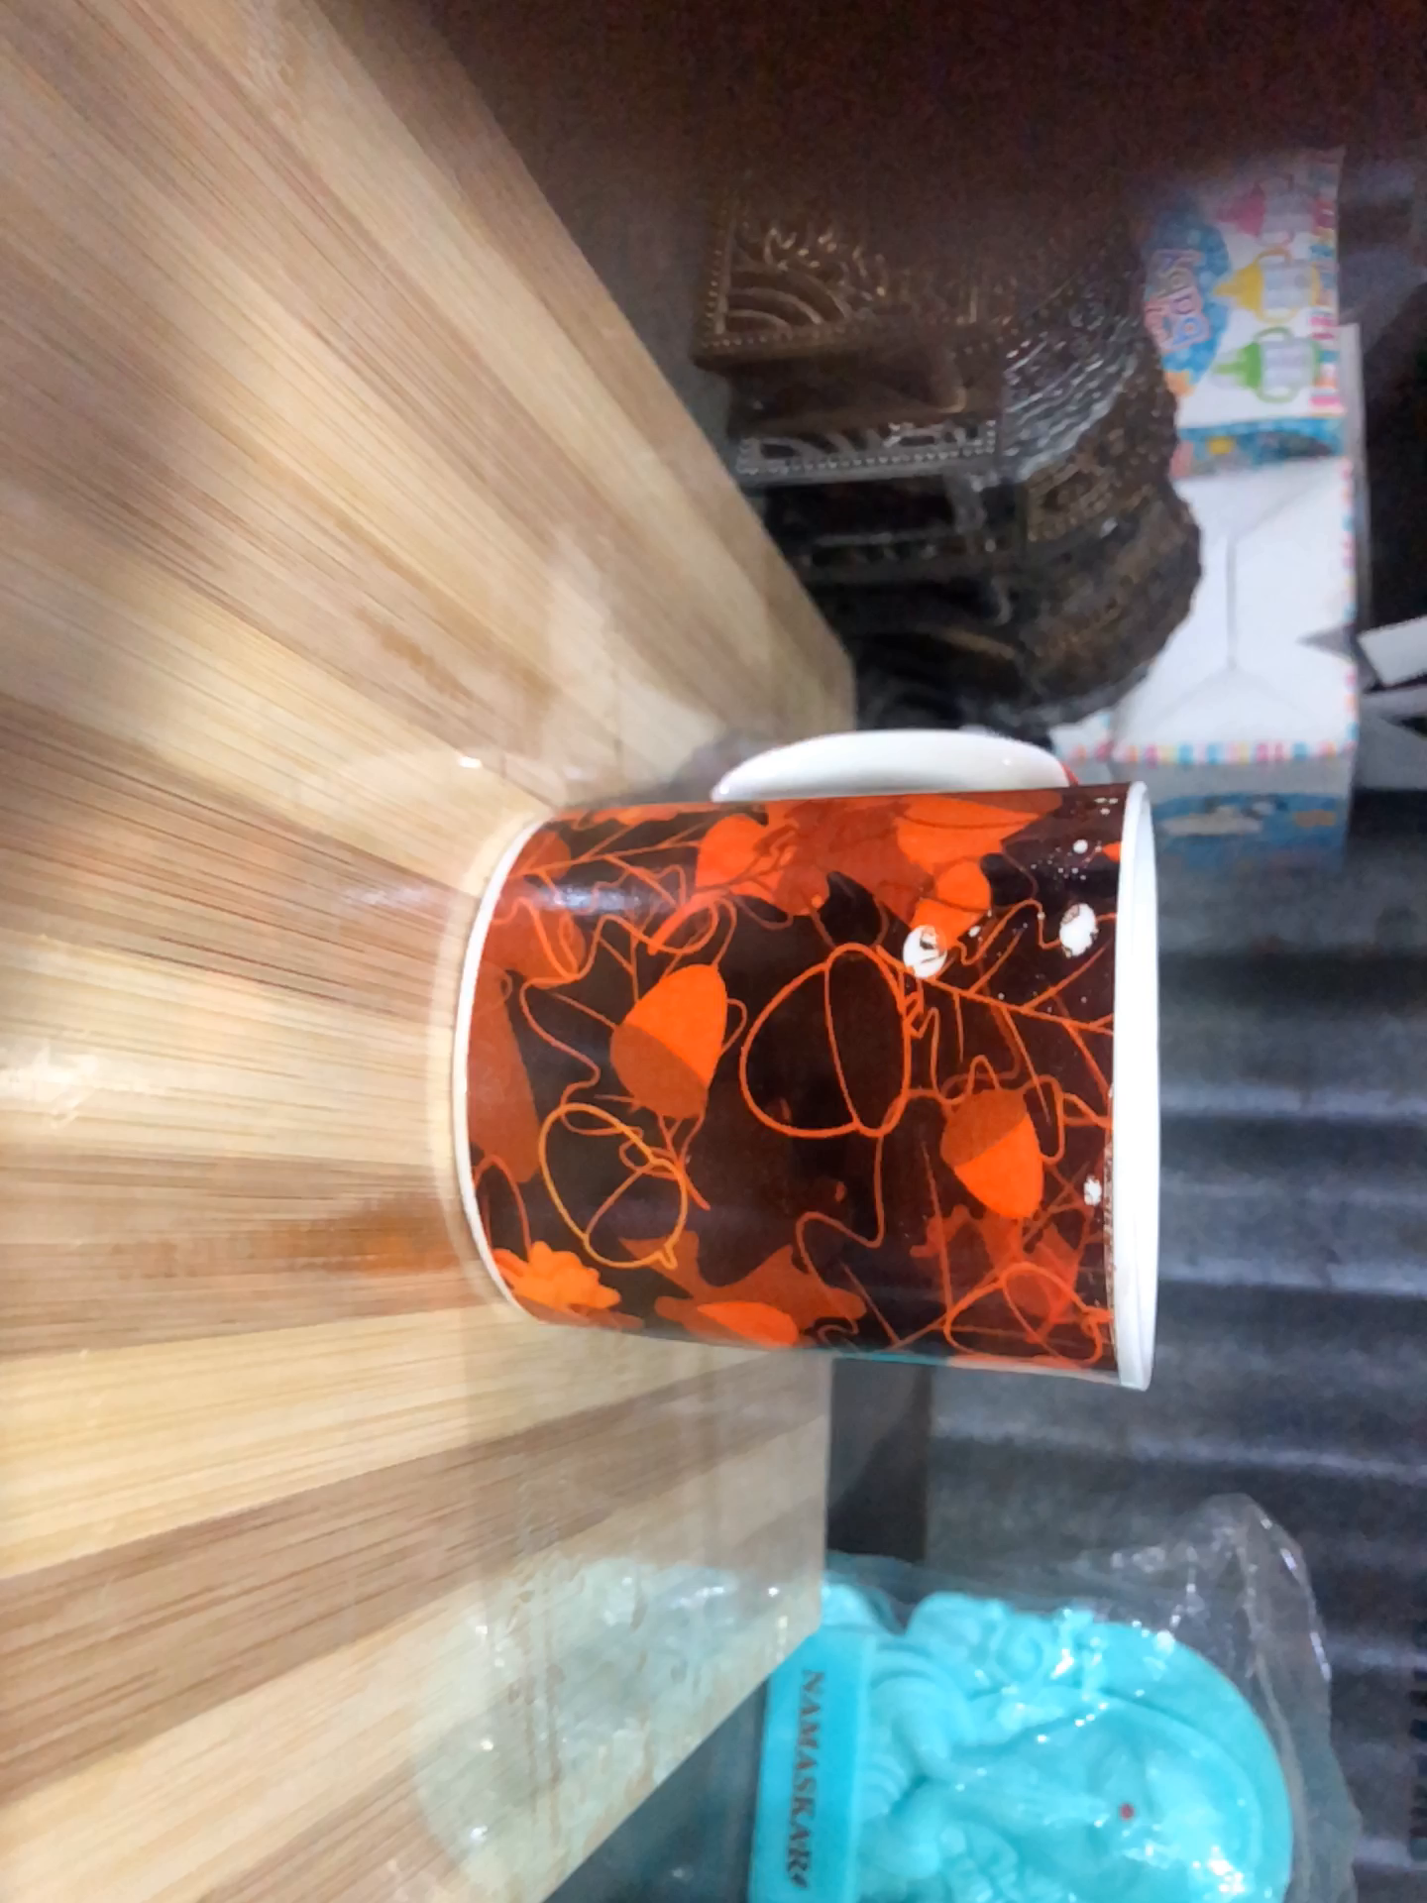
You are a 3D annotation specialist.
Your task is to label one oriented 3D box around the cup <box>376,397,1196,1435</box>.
[{"bbox_3d":[0.023,-0.008,0.218,0.080,0.080,0.110,75,23,-44],"label":"cup"}]
